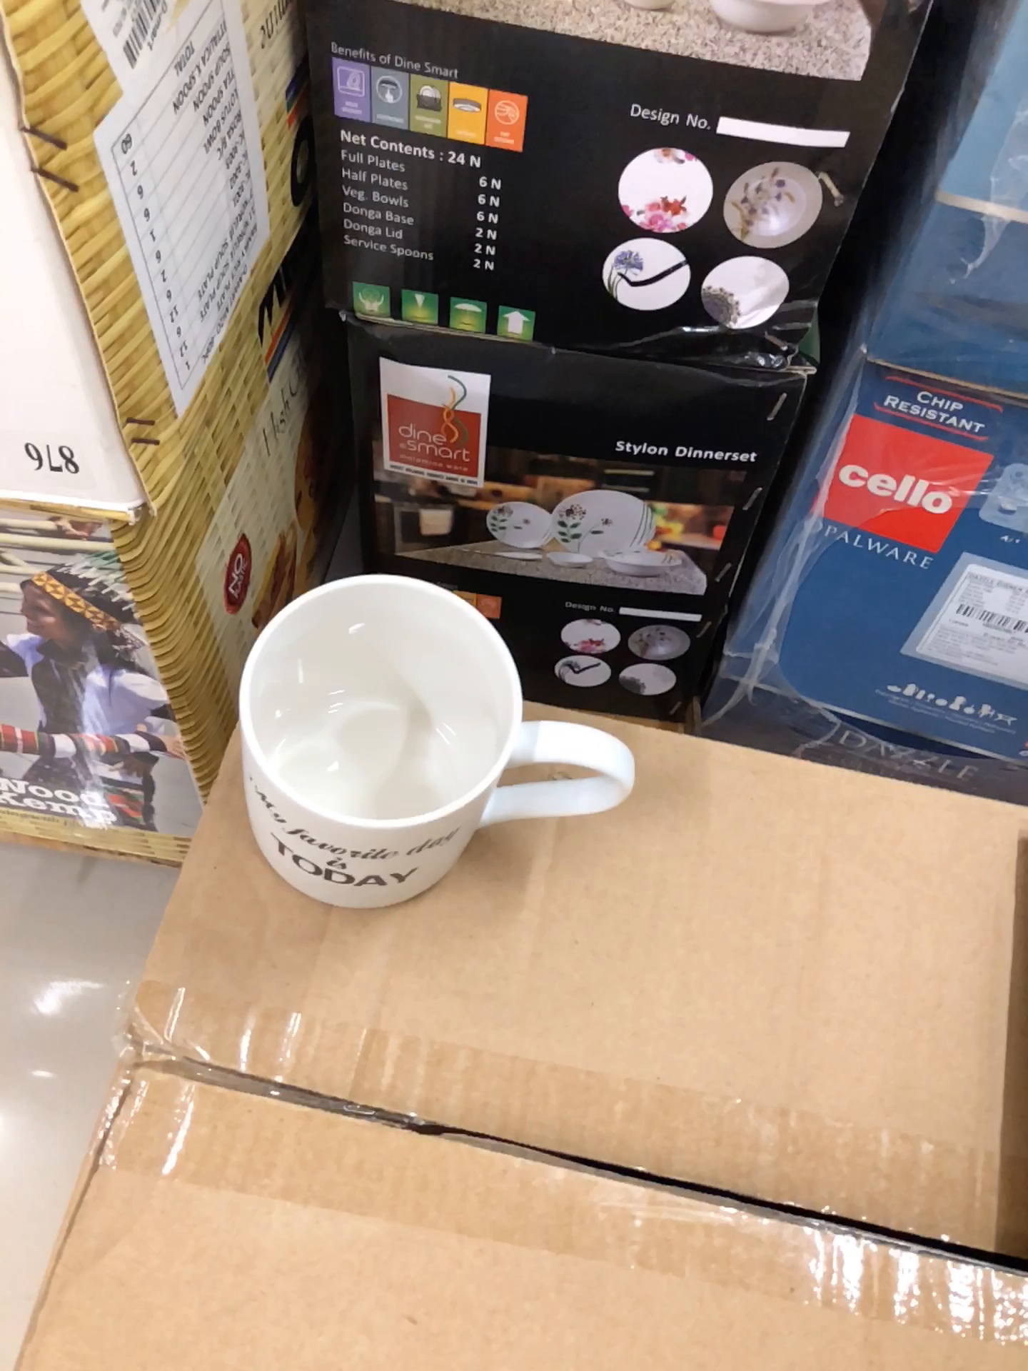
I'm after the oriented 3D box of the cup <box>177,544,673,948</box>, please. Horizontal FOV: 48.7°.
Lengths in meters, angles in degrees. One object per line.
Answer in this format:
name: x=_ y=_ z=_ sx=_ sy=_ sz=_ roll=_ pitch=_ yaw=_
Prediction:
cup: x=-0.028 y=0.025 z=0.358 sx=0.130 sy=0.099 sz=0.080 roll=7 pitch=63 yaw=-8
